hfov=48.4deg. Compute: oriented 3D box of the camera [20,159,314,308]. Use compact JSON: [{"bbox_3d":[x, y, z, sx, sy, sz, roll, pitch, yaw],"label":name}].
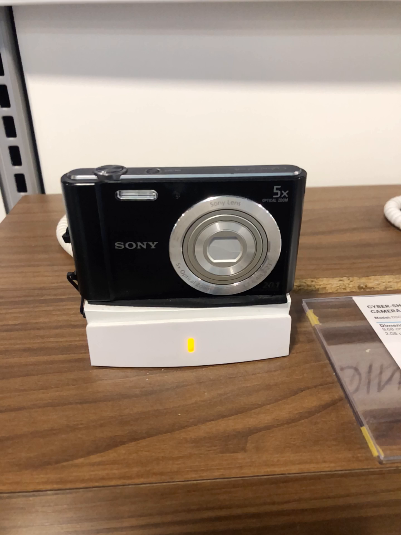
[{"bbox_3d":[-0.011,-0.014,0.176,0.100,0.050,0.030,0,27,1],"label":"camera"}]
